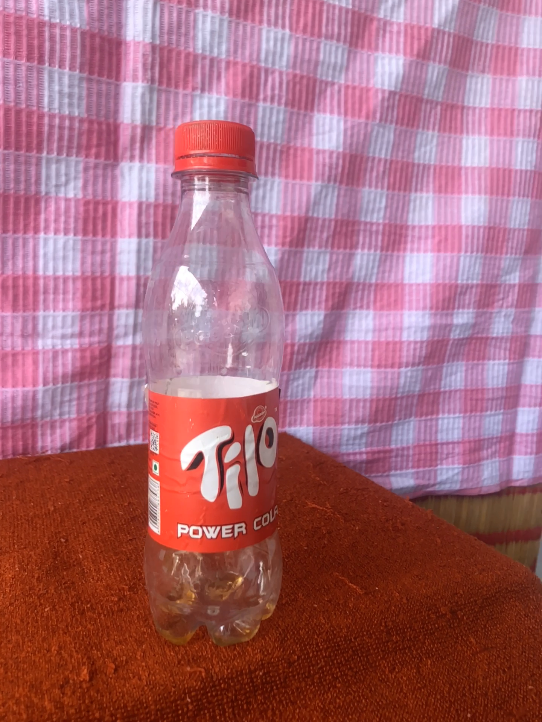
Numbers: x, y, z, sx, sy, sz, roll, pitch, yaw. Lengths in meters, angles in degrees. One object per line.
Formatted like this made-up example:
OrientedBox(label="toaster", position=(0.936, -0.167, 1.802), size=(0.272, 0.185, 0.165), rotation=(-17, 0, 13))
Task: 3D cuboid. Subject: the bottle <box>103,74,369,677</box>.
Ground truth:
OrientedBox(label="bottle", position=(-0.019, 0.006, 0.225), size=(0.060, 0.189, 0.060), rotation=(6, 11, -1))
